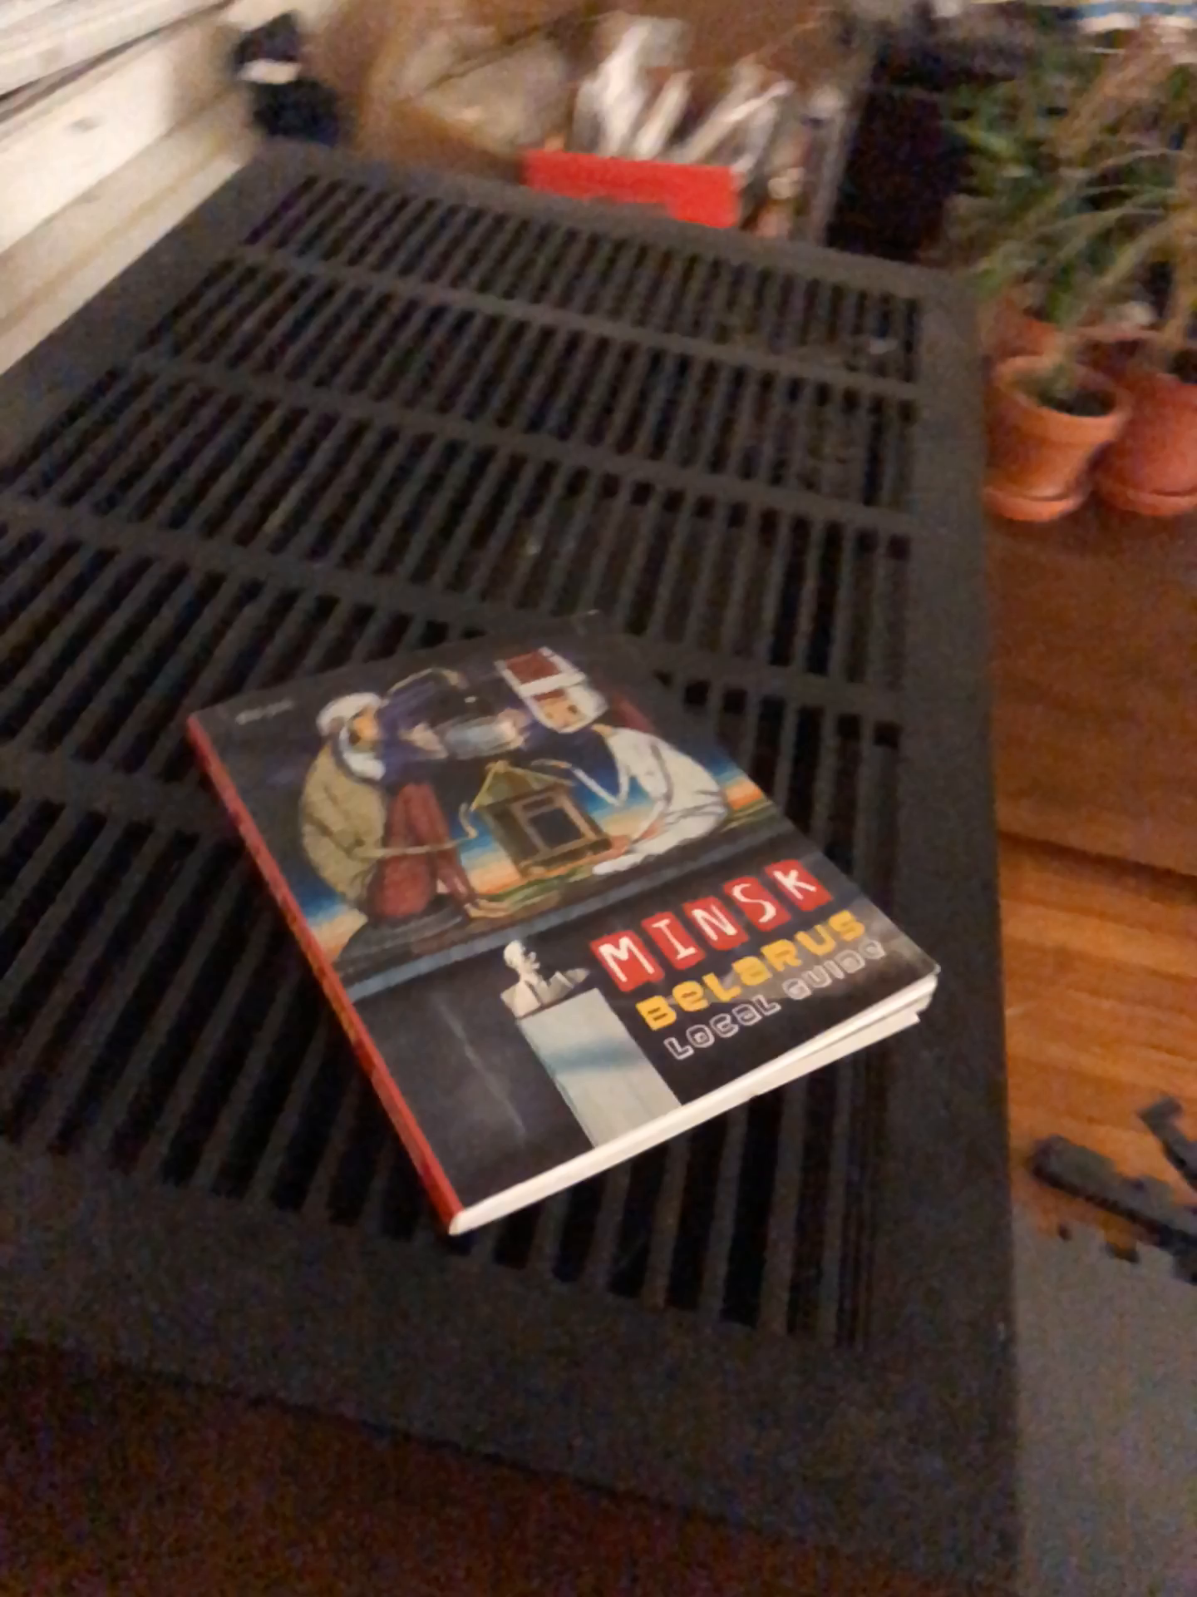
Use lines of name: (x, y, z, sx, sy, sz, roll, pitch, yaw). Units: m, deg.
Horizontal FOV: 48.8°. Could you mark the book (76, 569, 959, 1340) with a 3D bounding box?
book: (-0.031, 0.017, 0.357, 0.160, 0.020, 0.201, -18, 50, -25)
